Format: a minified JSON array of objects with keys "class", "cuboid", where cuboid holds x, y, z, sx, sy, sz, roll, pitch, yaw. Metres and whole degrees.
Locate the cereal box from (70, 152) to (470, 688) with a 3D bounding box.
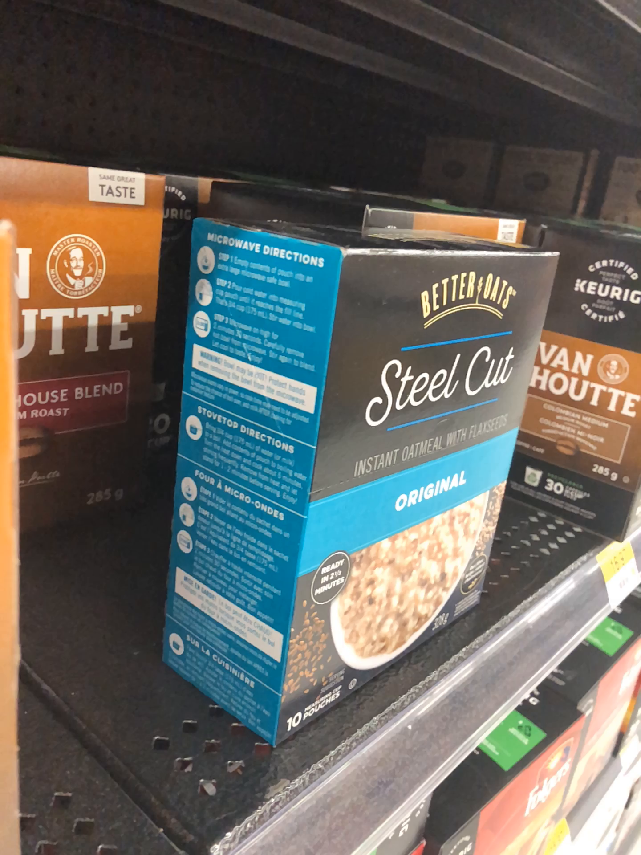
[{"class":"cereal box","cuboid":[-0.019,-0.010,0.308,0.060,0.179,0.150,24,23,34]}]
